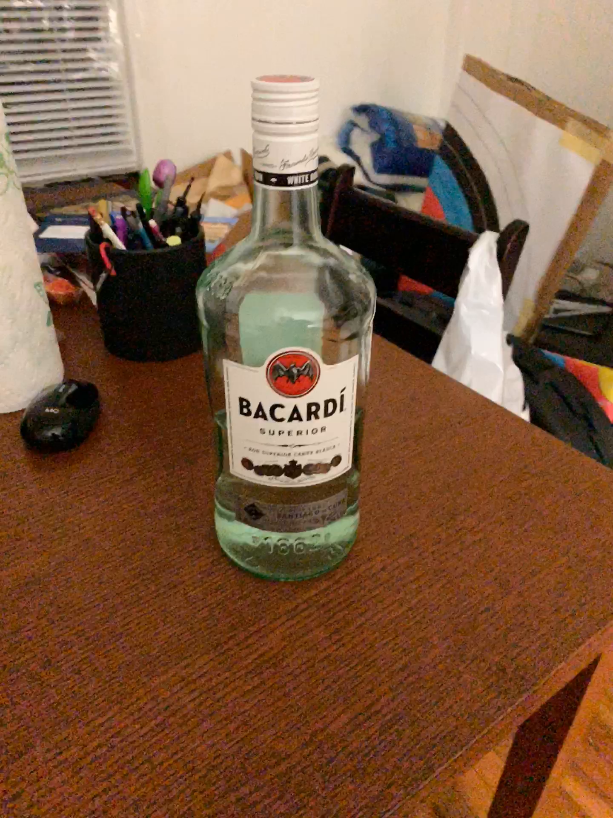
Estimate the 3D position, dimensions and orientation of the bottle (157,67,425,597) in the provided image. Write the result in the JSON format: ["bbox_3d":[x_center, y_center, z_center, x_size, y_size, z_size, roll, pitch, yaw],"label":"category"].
[{"bbox_3d":[-0.013,-0.036,0.423,0.120,0.328,0.121,1,34,0],"label":"bottle"}]
